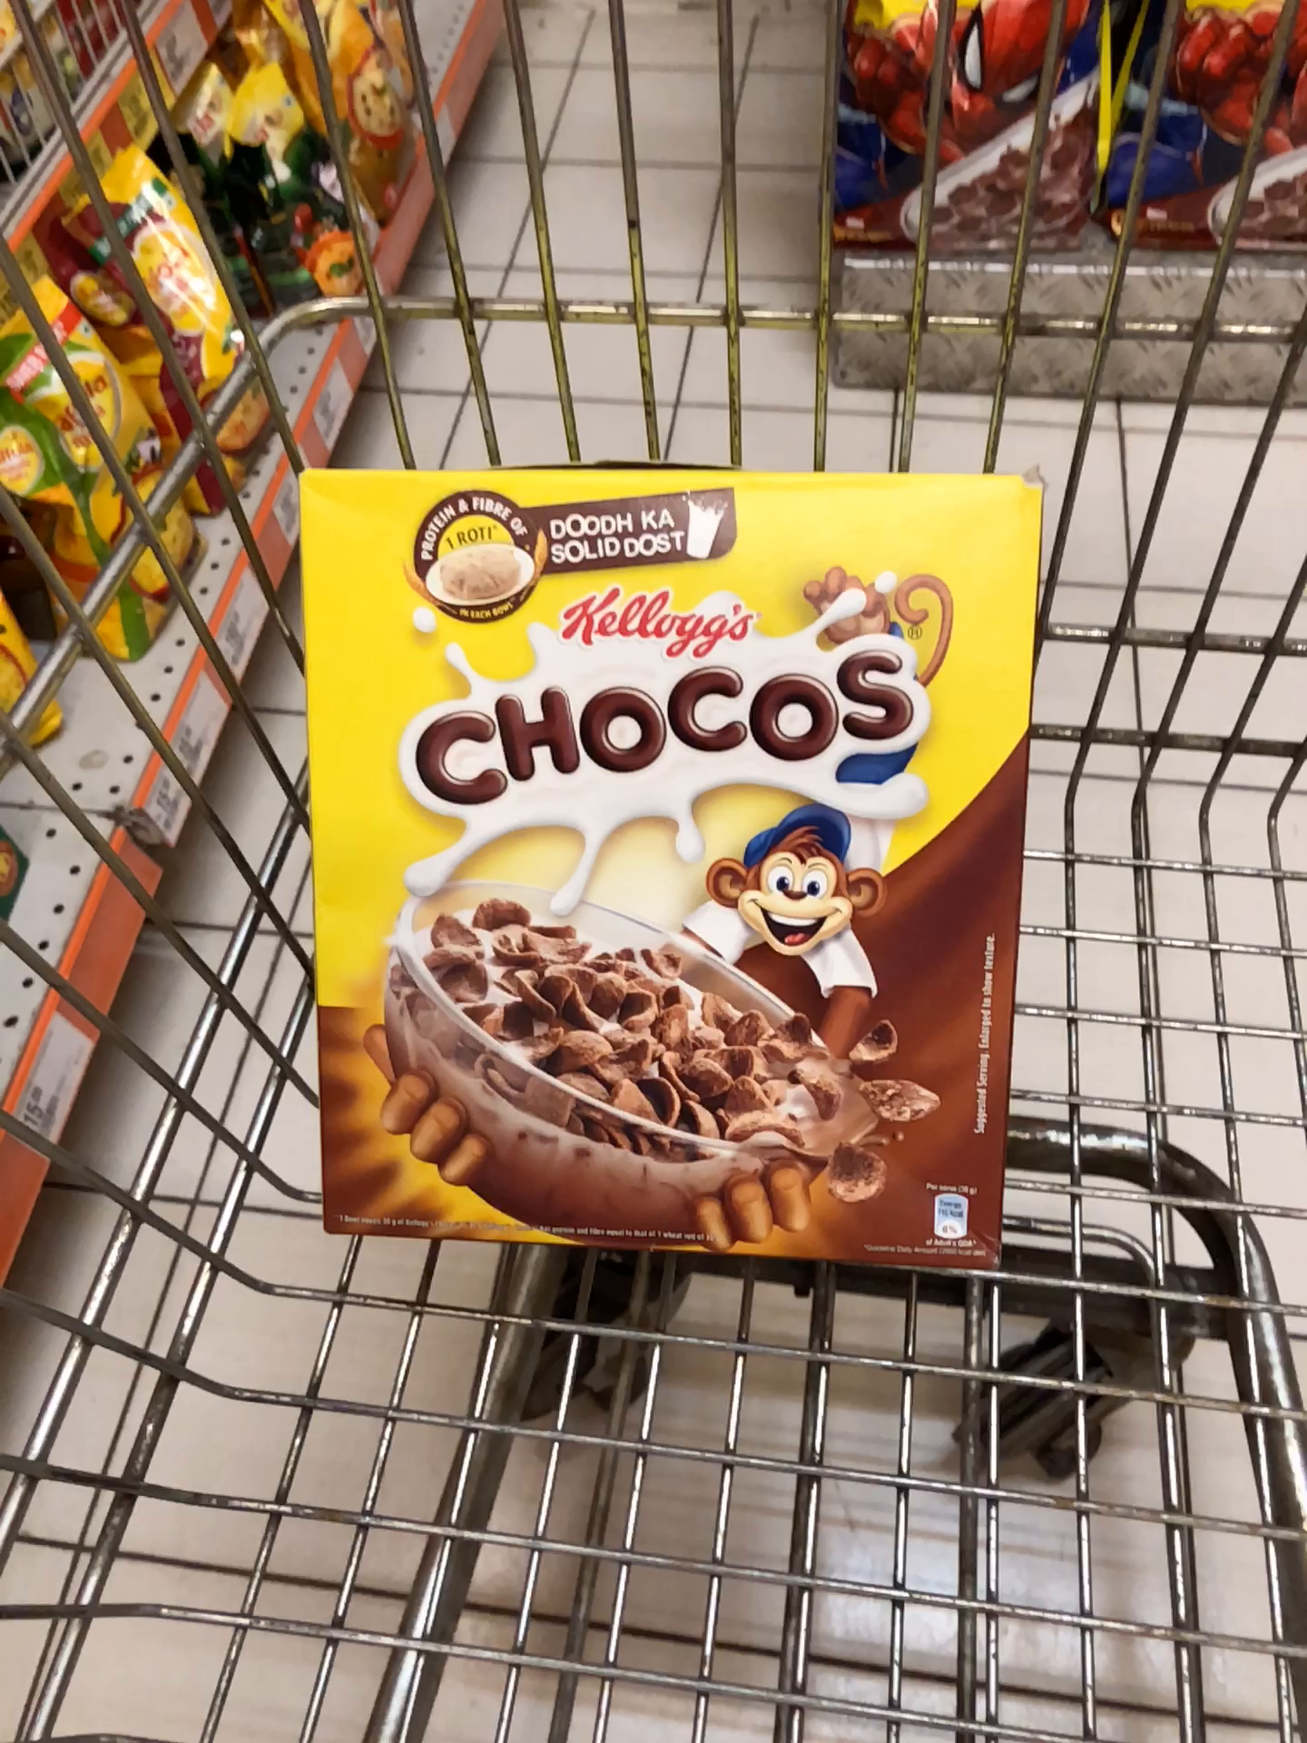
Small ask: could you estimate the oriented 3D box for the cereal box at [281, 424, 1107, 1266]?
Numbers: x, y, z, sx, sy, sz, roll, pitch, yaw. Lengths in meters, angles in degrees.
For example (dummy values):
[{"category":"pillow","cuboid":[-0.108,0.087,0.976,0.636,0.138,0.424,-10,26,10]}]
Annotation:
[{"category":"cereal box","cuboid":[0.008,-0.010,0.383,0.190,0.070,0.200,2,100,5]}]
